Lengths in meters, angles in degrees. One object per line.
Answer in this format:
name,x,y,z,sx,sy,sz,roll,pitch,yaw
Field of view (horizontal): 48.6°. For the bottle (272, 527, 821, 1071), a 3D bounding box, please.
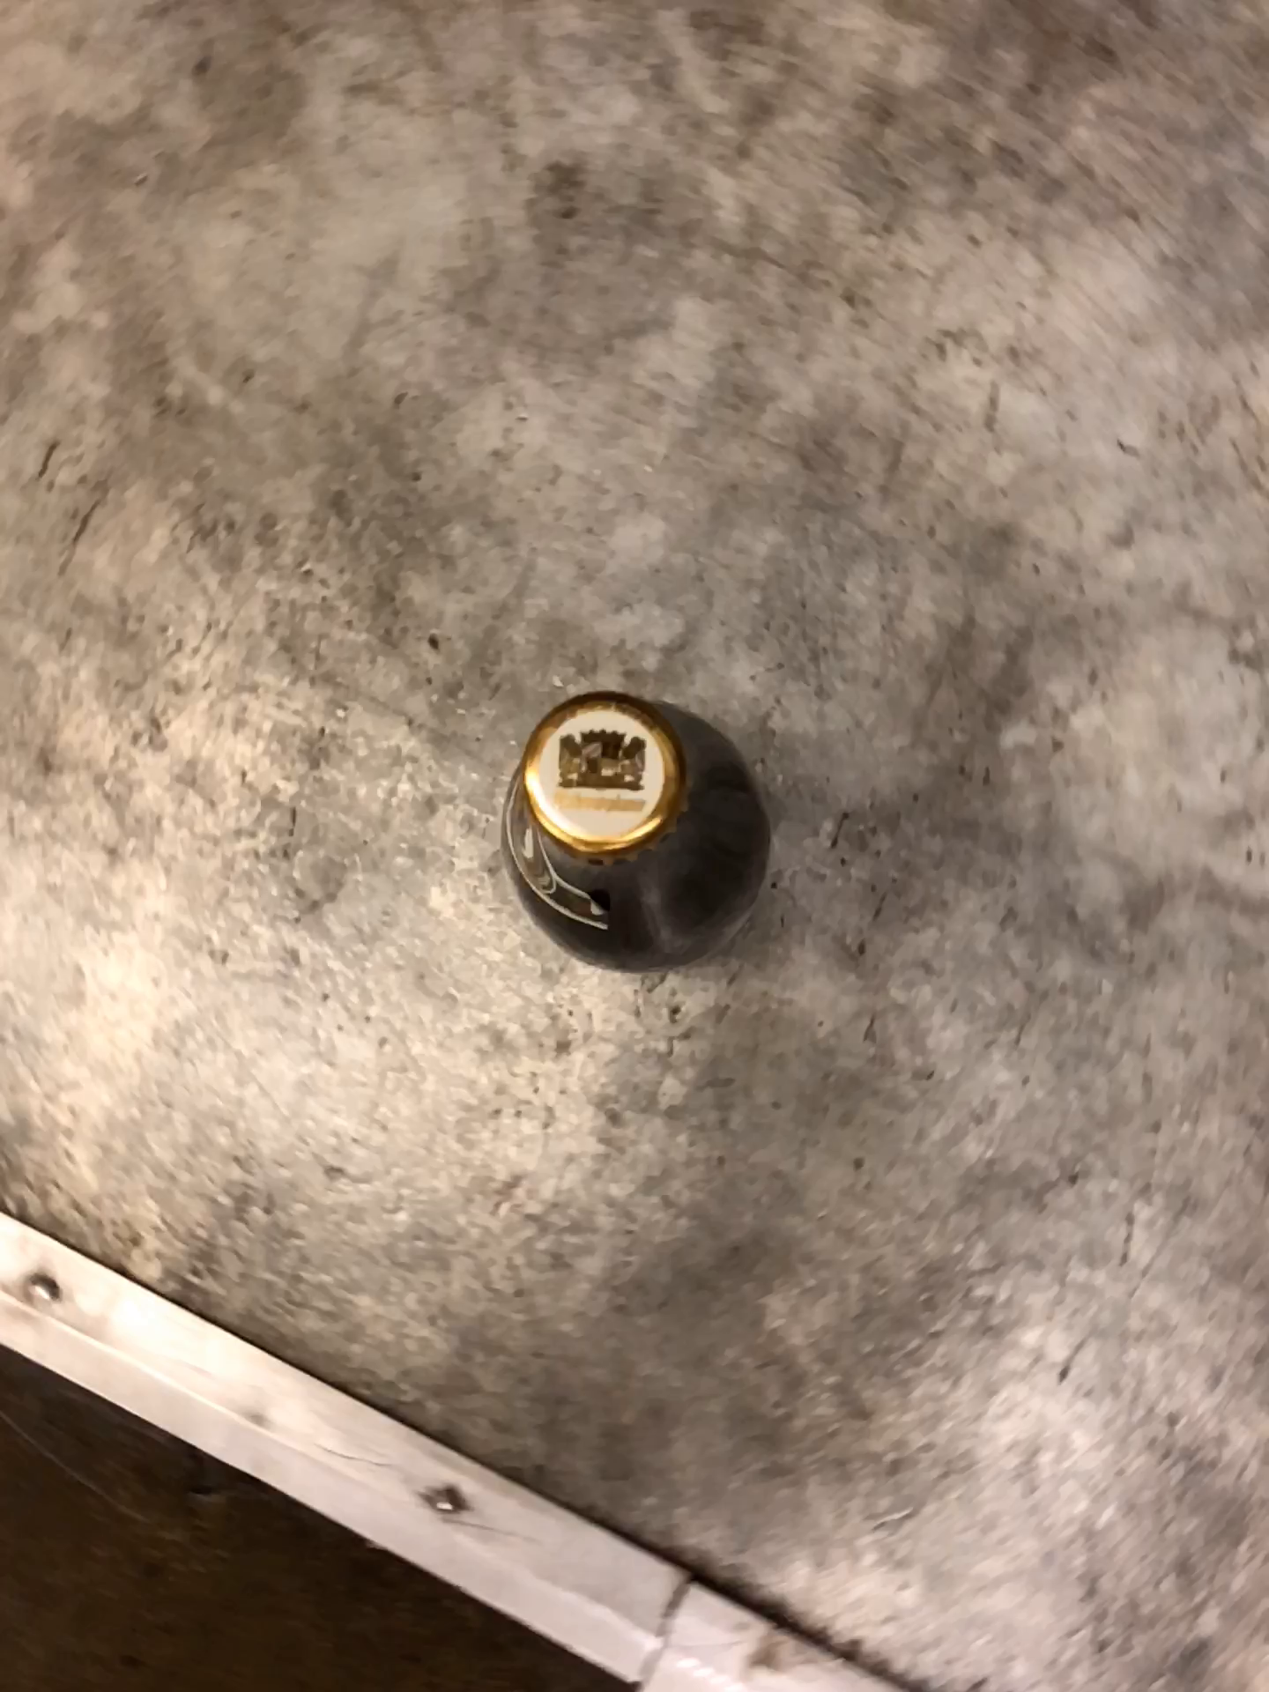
bottle,-0.006,0.002,0.334,0.070,0.250,0.070,0,85,3
